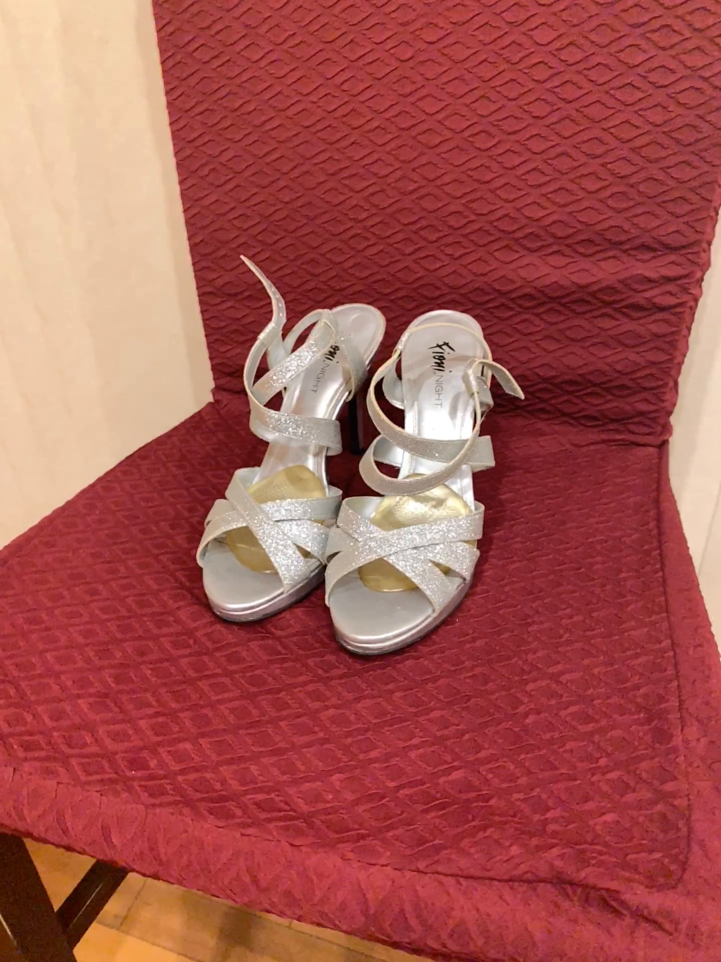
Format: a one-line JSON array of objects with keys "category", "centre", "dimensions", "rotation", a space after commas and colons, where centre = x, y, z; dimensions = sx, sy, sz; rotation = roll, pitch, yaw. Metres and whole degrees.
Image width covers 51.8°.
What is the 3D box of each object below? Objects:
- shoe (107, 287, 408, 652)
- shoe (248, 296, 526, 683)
[{"category": "shoe", "centre": [-0.043, -0.025, 0.477], "dimensions": [0.100, 0.119, 0.231], "rotation": [5, 35, 14]}, {"category": "shoe", "centre": [0.032, -0.012, 0.450], "dimensions": [0.100, 0.119, 0.221], "rotation": [7, 35, 16]}]
